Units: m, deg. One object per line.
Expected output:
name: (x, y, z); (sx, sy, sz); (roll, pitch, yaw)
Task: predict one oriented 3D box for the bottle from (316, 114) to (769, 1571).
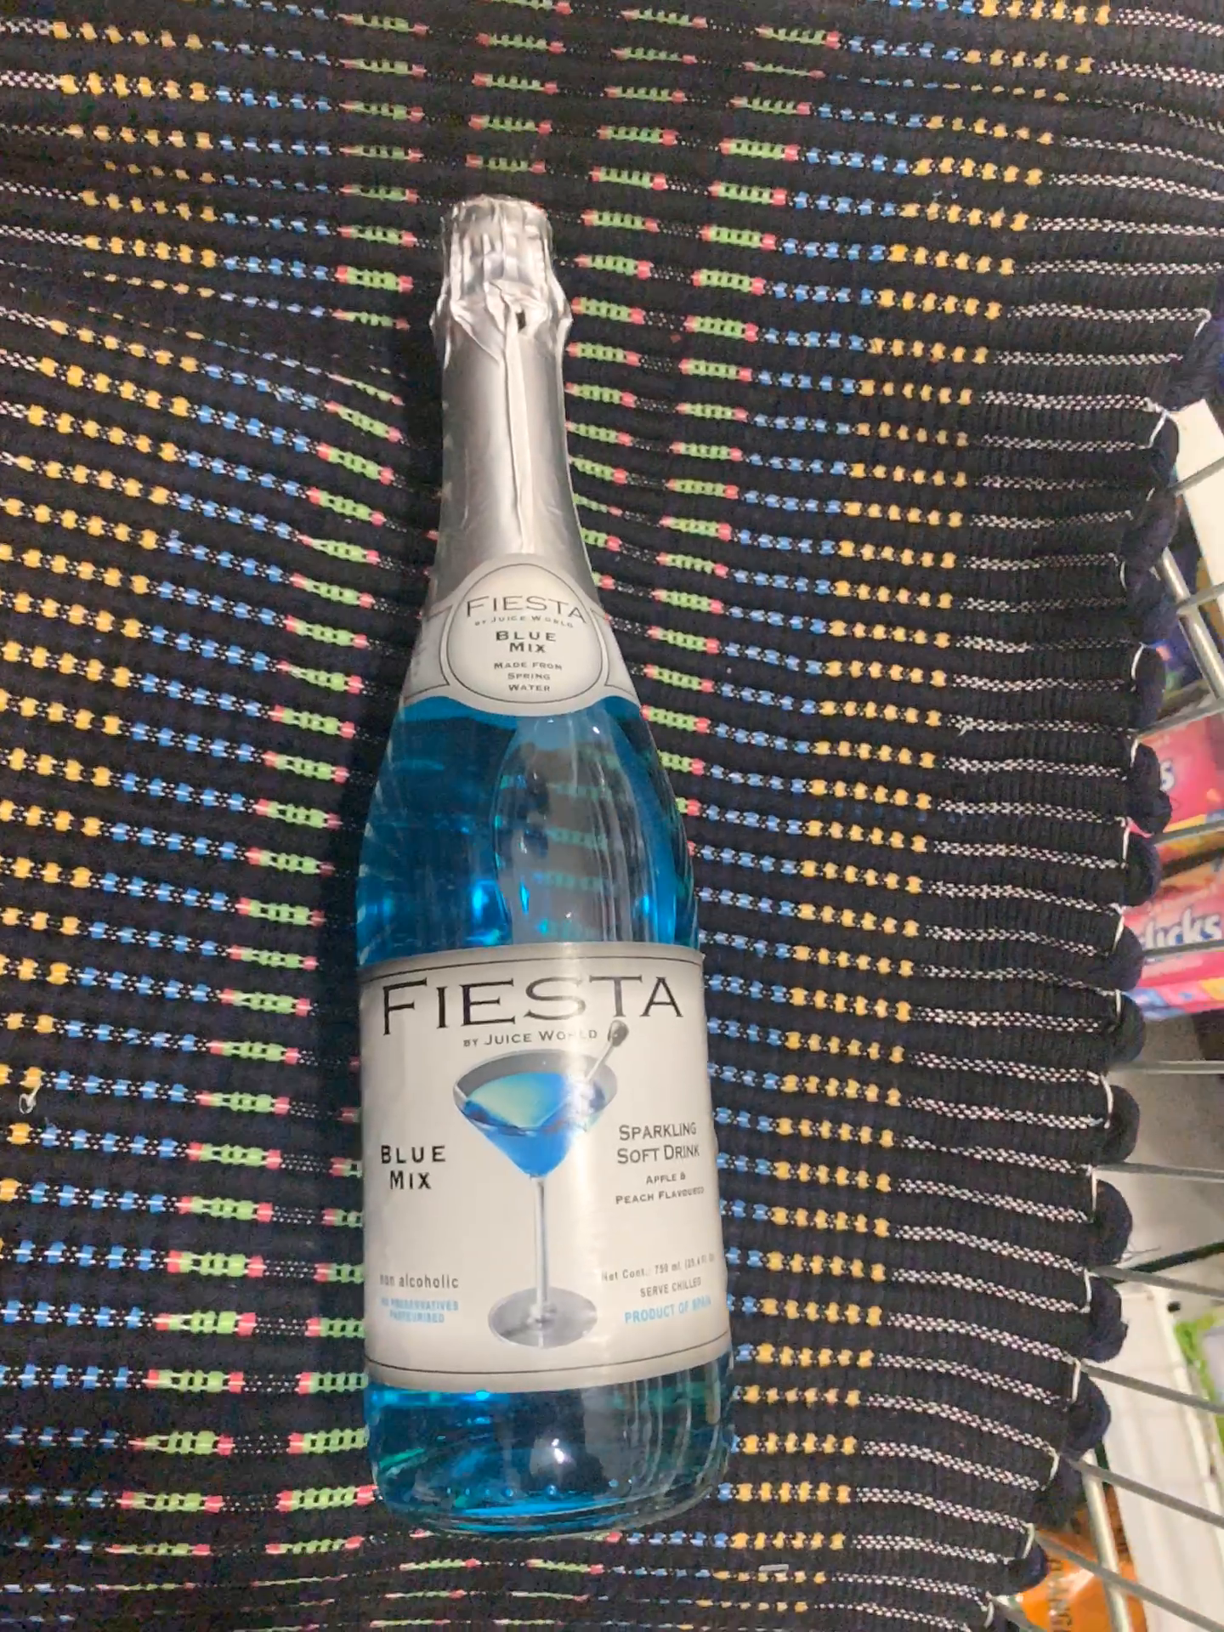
bottle: (-0.026, -0.005, 0.315); (0.080, 0.100, 0.310); (-2, 76, -8)
